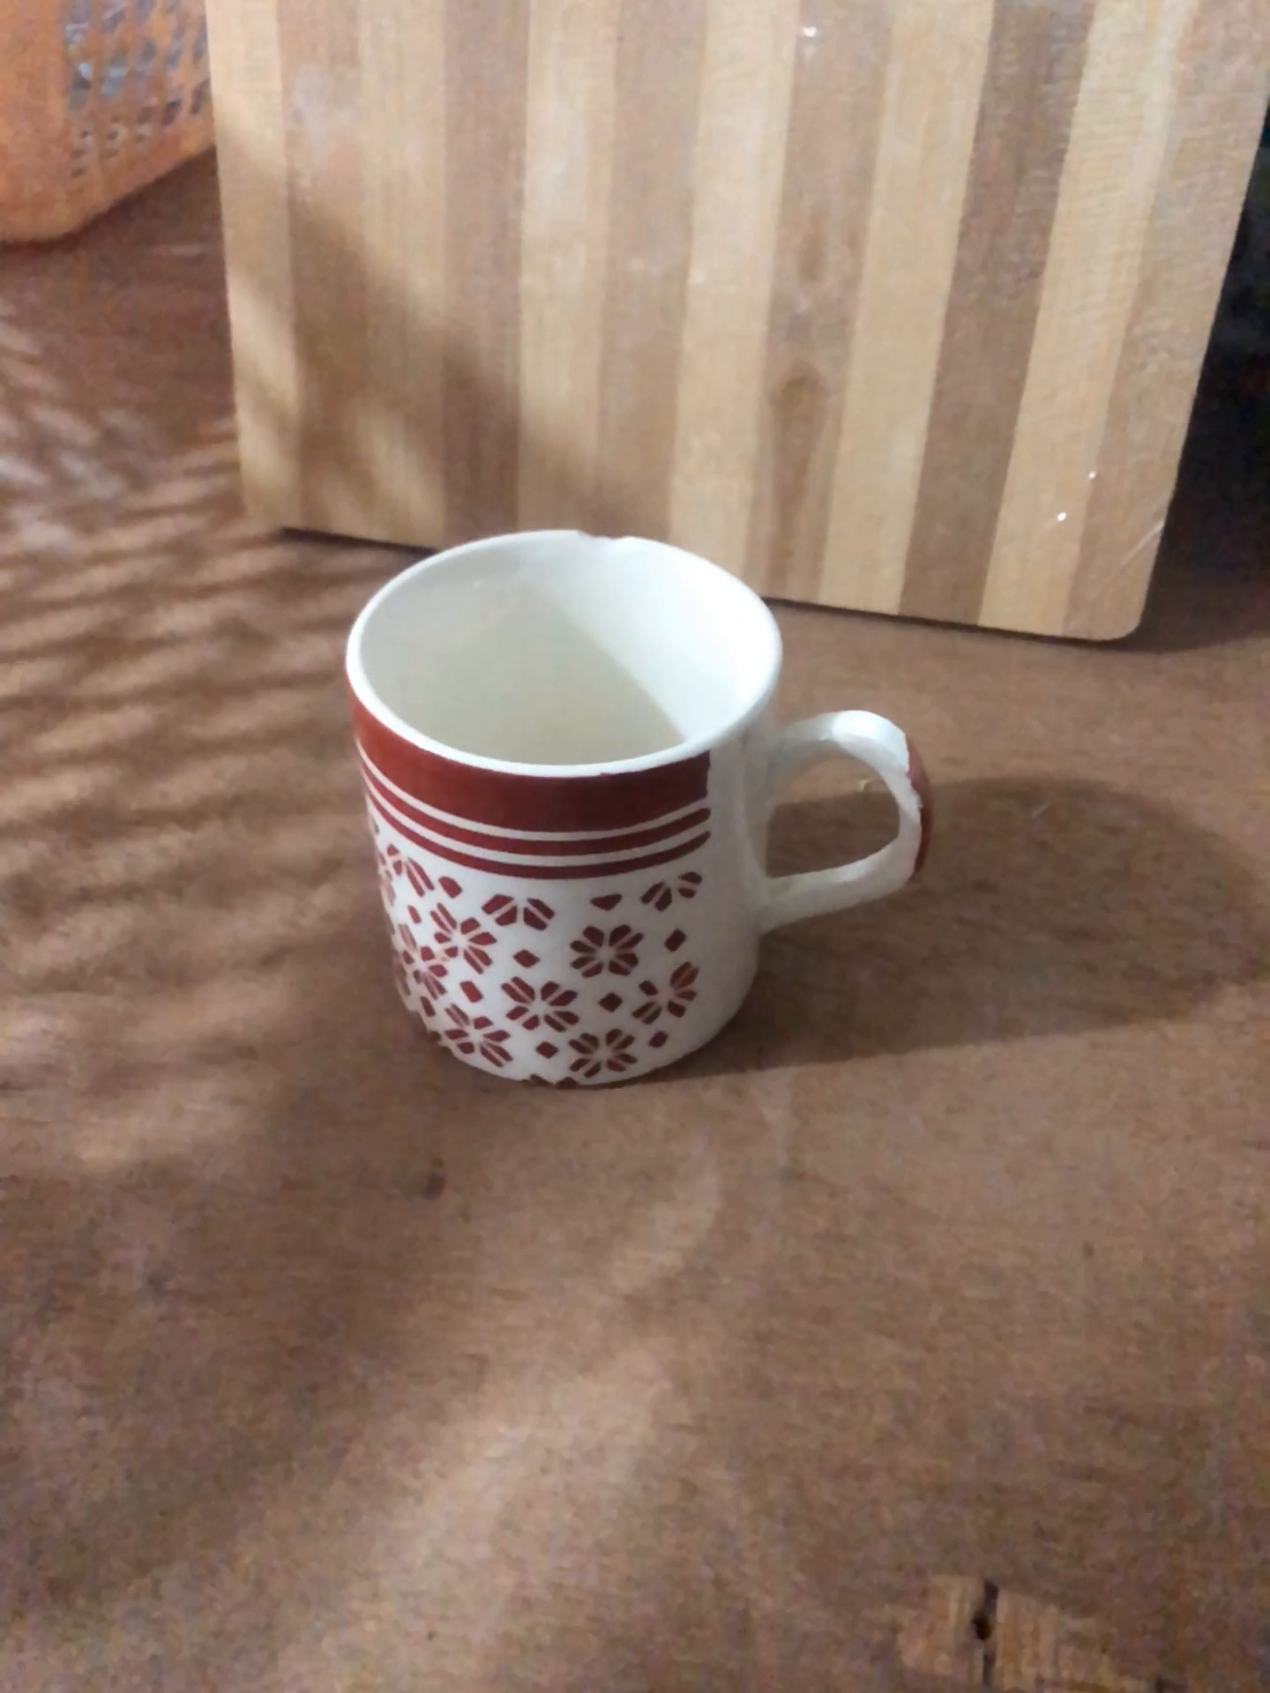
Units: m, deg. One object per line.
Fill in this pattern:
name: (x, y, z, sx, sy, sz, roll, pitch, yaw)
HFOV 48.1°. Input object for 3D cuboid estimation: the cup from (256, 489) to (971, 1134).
cup: (0.000, -0.007, 0.227, 0.090, 0.070, 0.070, 3, 42, 4)
